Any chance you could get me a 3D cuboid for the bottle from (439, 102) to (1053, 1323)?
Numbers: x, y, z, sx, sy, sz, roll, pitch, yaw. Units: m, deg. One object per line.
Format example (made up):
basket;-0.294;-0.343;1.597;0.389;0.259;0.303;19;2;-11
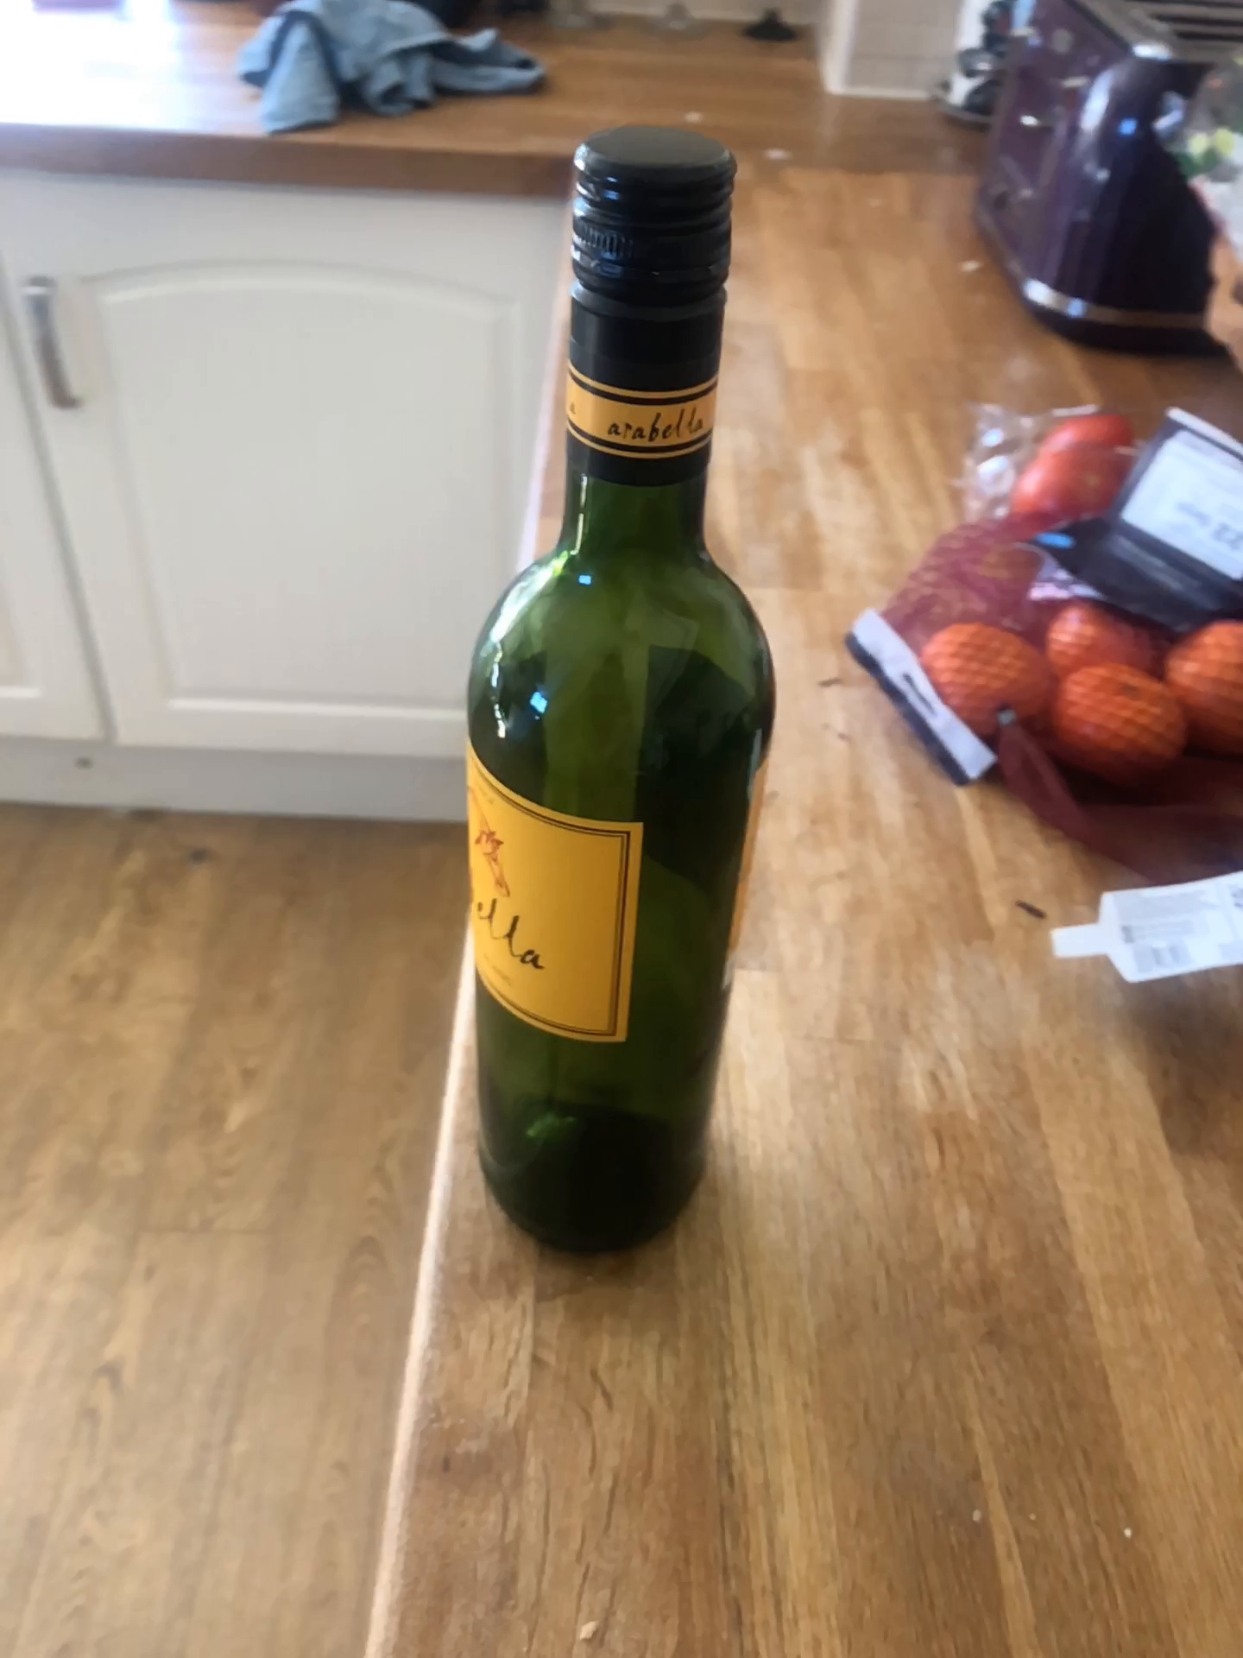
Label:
bottle;0.010;-0.004;0.342;0.090;0.298;0.091;2;40;-2
